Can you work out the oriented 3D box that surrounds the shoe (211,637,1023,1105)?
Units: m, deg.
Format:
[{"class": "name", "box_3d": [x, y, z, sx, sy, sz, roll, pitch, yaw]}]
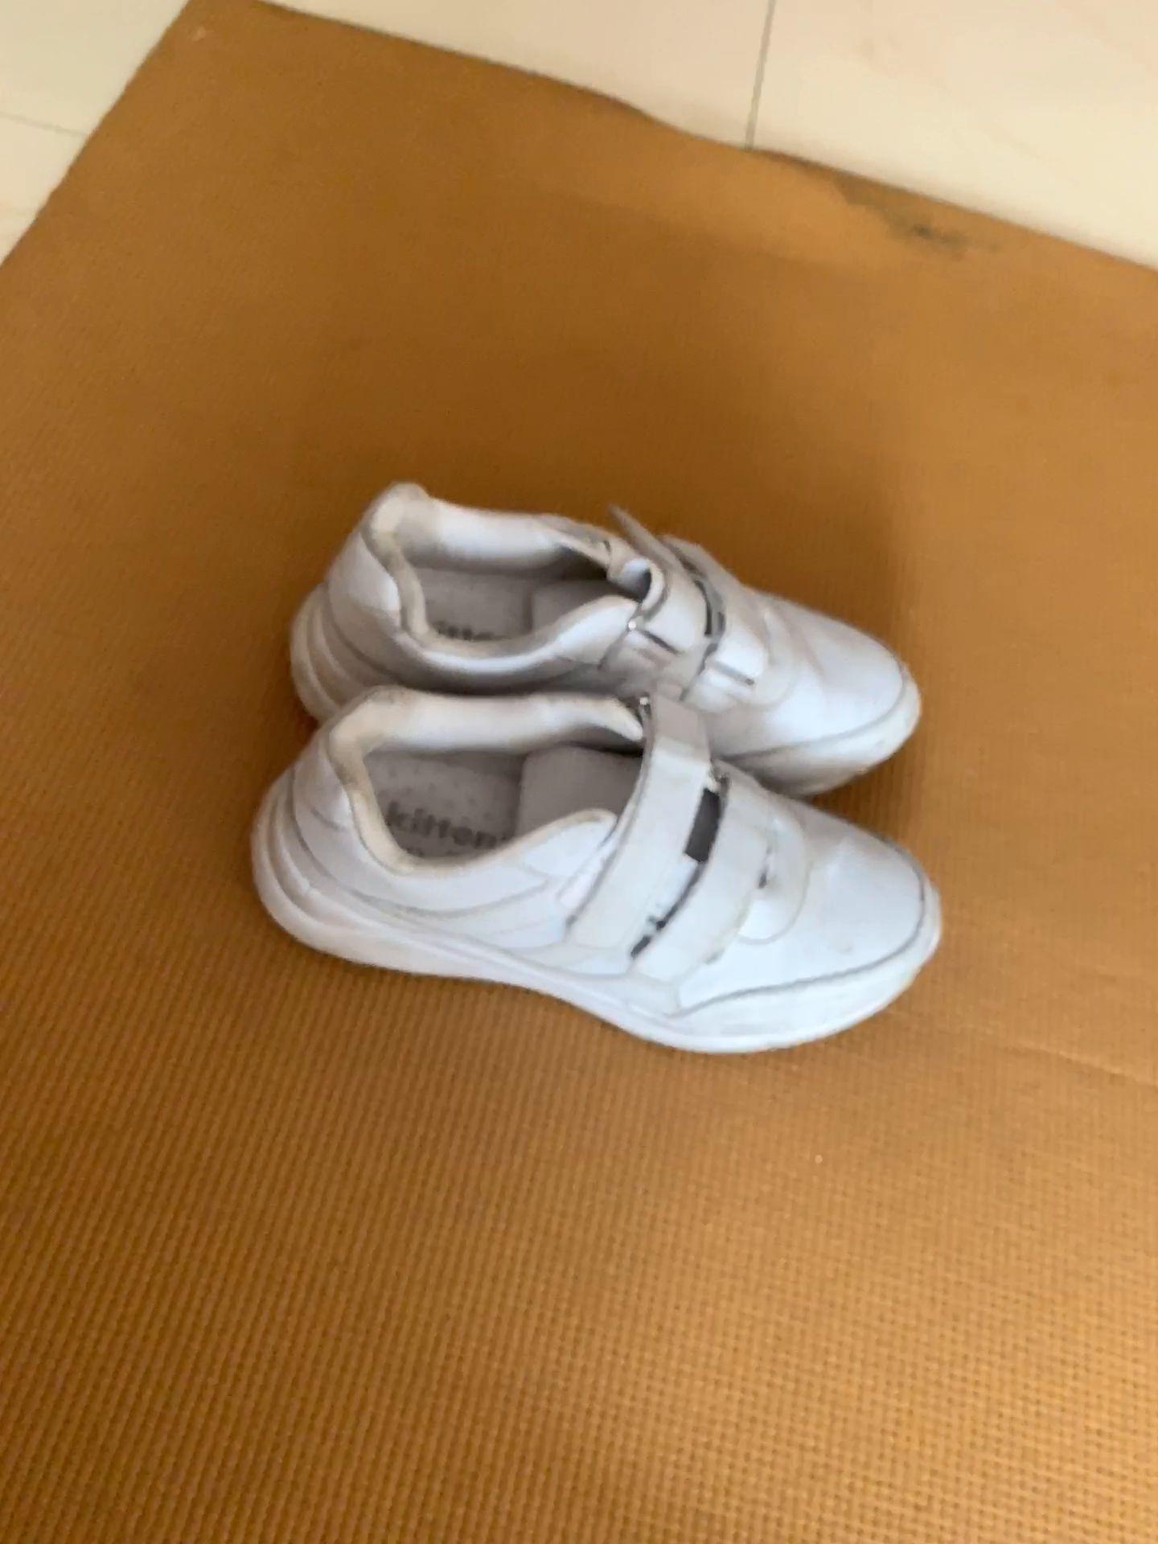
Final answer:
[{"class": "shoe", "box_3d": [0.011, 0.040, 0.415, 0.240, 0.100, 0.090, 10, 61, -5]}]

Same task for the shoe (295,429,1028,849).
[{"class": "shoe", "box_3d": [0.030, -0.047, 0.454, 0.250, 0.070, 0.090, 10, 61, -5]}]
